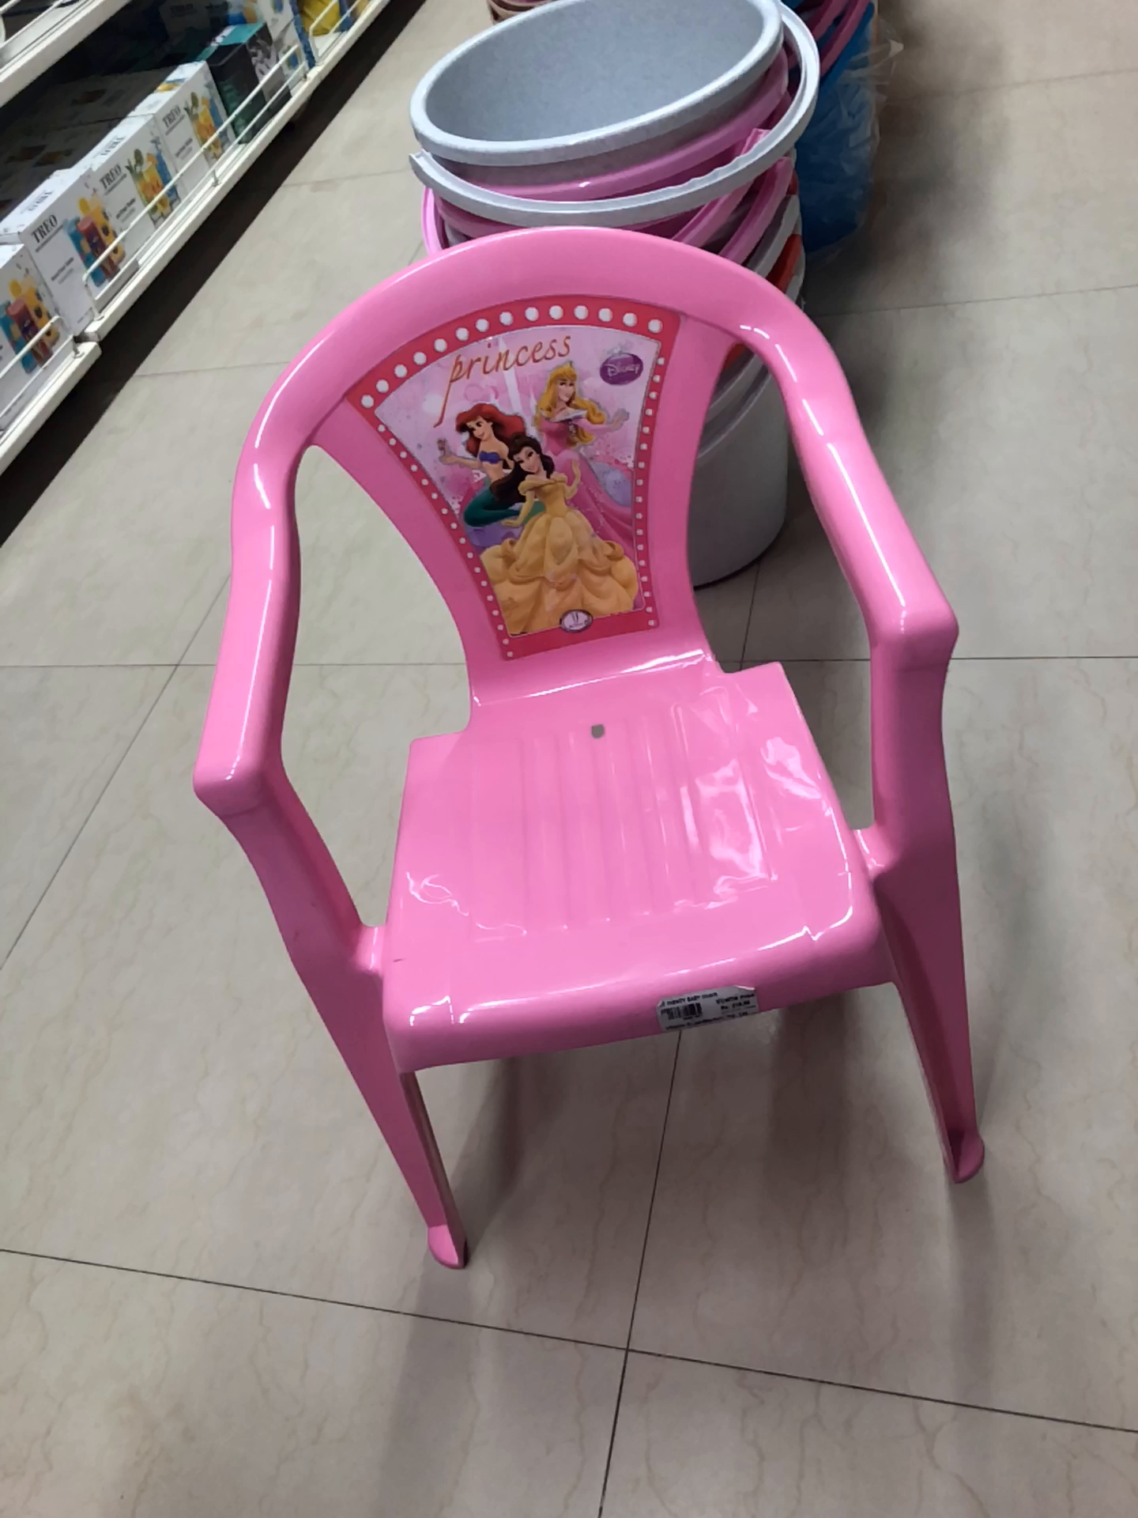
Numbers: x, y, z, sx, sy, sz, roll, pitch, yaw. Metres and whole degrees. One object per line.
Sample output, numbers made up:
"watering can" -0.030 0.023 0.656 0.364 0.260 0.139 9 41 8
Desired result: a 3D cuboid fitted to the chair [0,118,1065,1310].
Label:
"chair" 0.008 0.006 0.687 0.370 0.477 0.352 -13 45 6
